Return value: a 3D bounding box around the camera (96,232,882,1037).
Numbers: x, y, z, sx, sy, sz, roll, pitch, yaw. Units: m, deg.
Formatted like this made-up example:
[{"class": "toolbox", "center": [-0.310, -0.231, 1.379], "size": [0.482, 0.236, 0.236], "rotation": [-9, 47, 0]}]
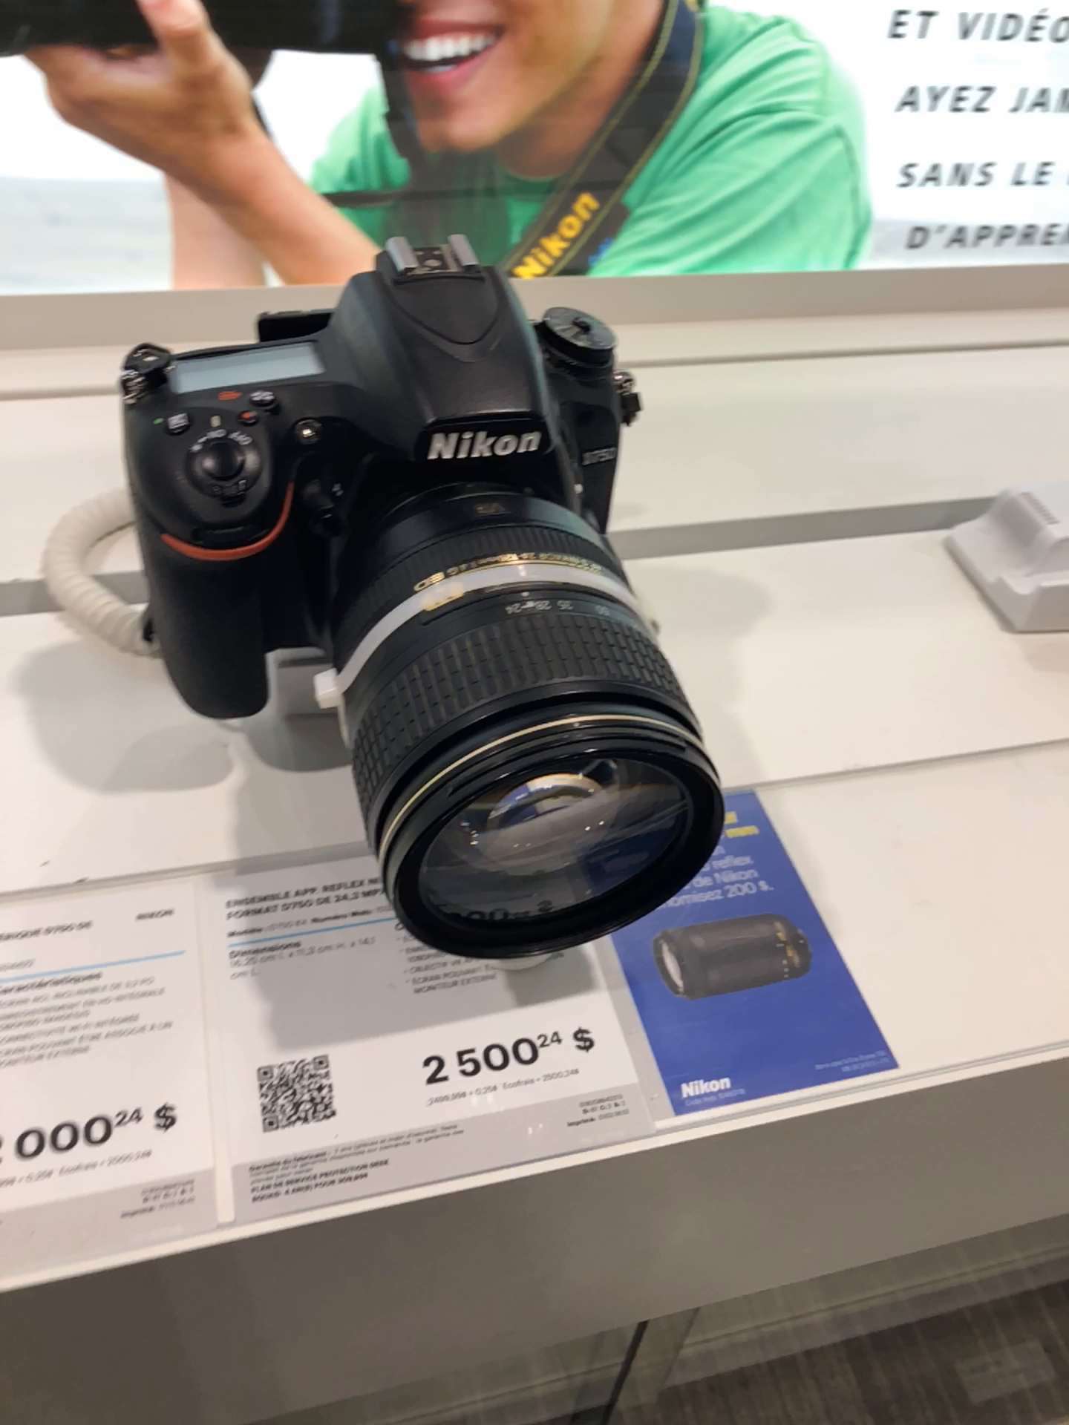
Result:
[{"class": "camera", "center": [-0.029, -0.037, 0.308], "size": [0.138, 0.099, 0.184], "rotation": [-9, 45, -16]}]
